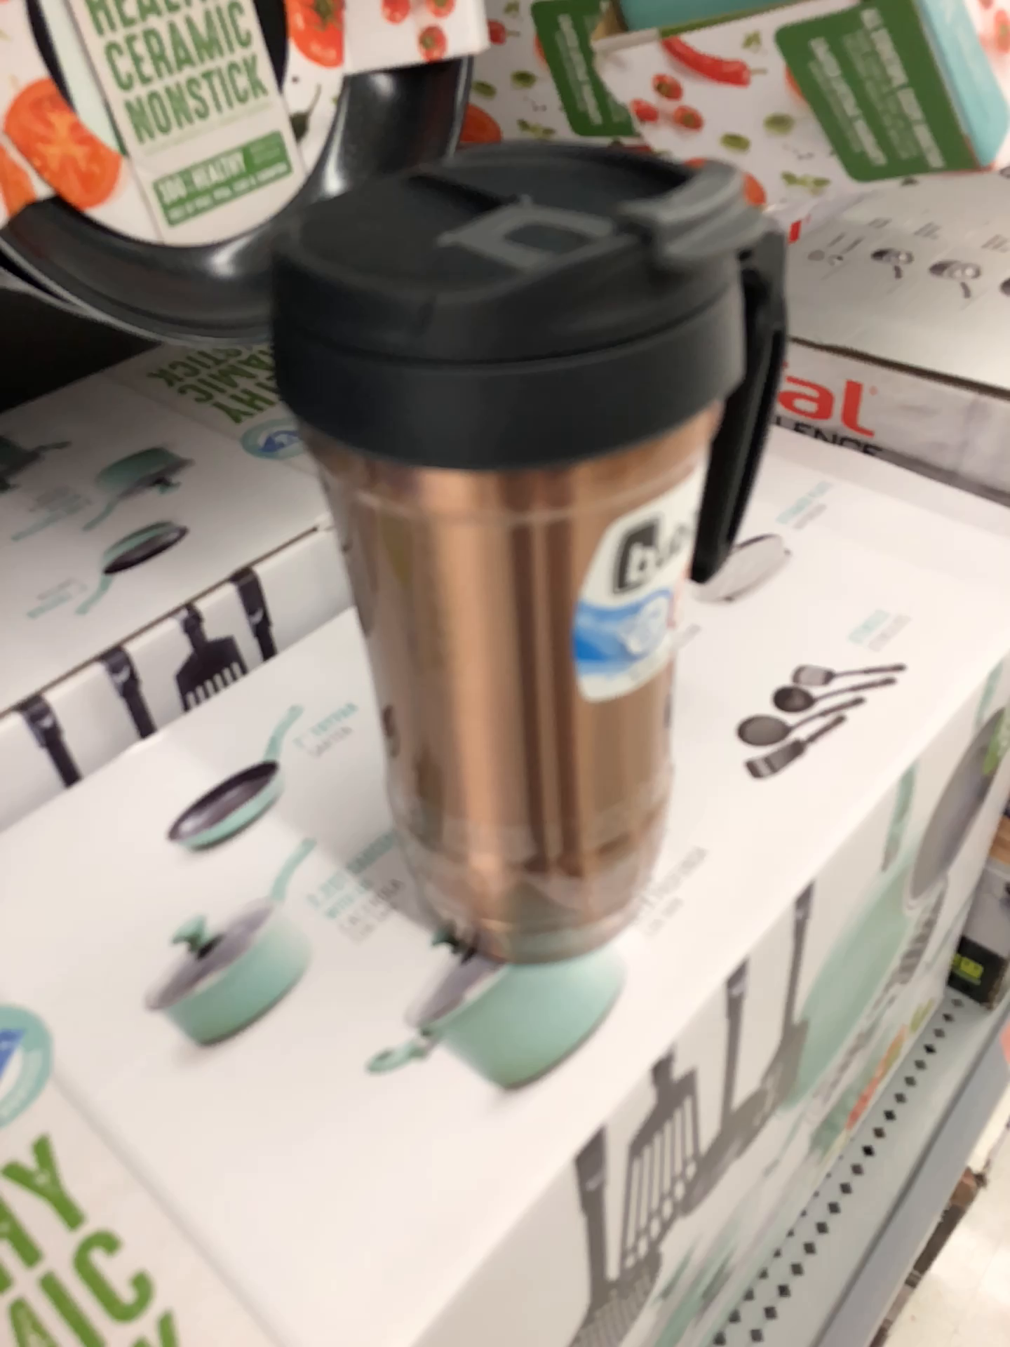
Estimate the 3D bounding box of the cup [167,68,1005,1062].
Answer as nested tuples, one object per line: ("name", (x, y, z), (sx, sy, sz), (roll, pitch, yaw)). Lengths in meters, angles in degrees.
("cup", (0.024, -0.029, 0.275), (0.093, 0.182, 0.143), (30, 51, 32))
